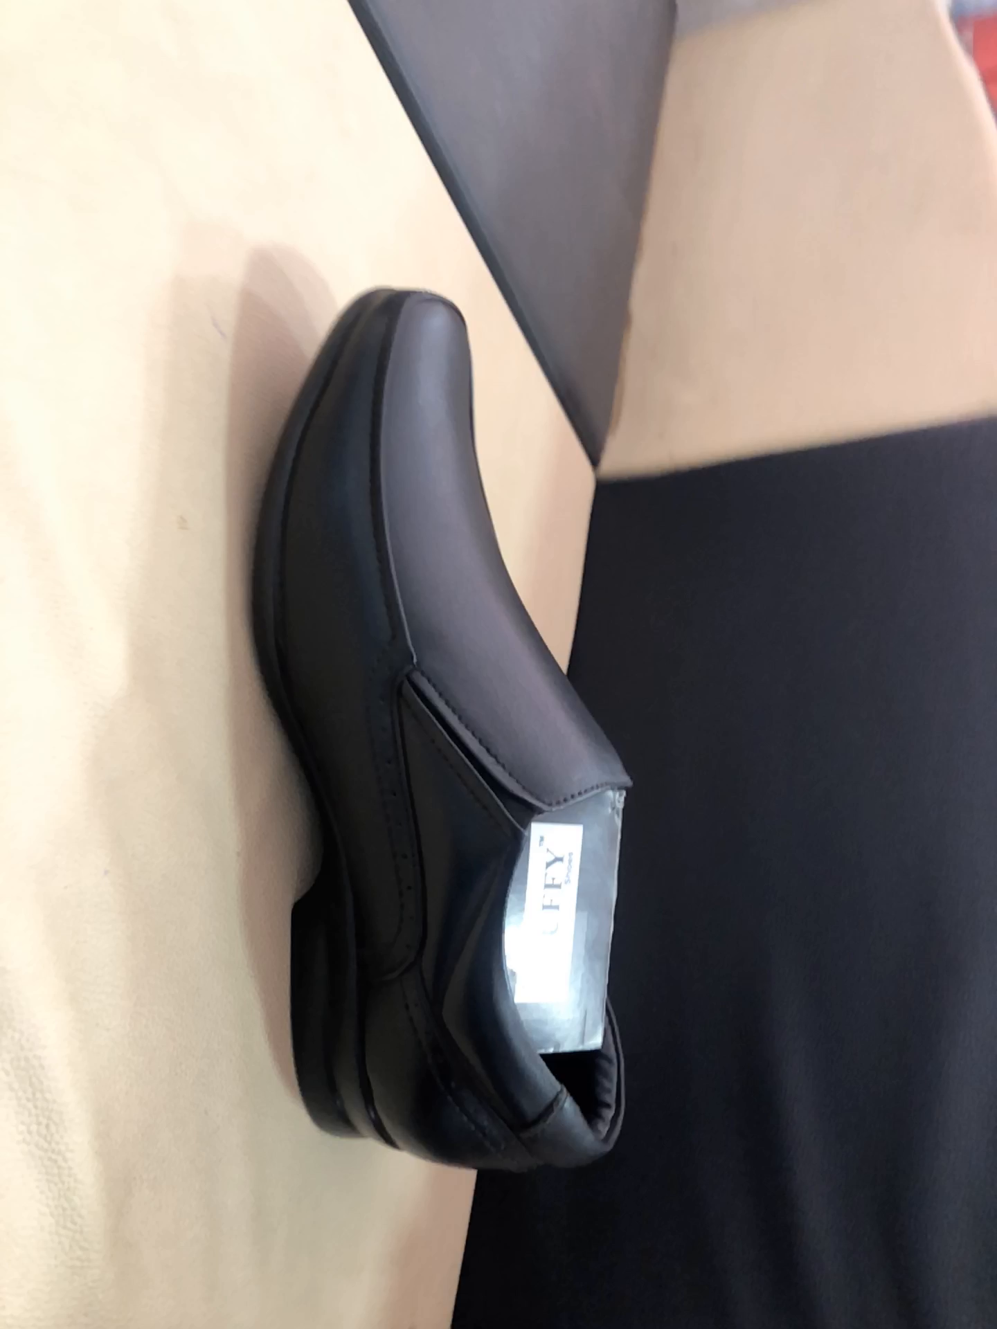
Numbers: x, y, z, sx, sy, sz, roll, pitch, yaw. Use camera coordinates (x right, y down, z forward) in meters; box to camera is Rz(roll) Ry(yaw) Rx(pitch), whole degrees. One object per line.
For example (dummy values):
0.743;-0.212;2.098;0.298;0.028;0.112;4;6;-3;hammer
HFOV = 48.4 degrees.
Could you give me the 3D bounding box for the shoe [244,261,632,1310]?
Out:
-0.014;0.033;0.361;0.111;0.069;0.280;0;88;-65;shoe
